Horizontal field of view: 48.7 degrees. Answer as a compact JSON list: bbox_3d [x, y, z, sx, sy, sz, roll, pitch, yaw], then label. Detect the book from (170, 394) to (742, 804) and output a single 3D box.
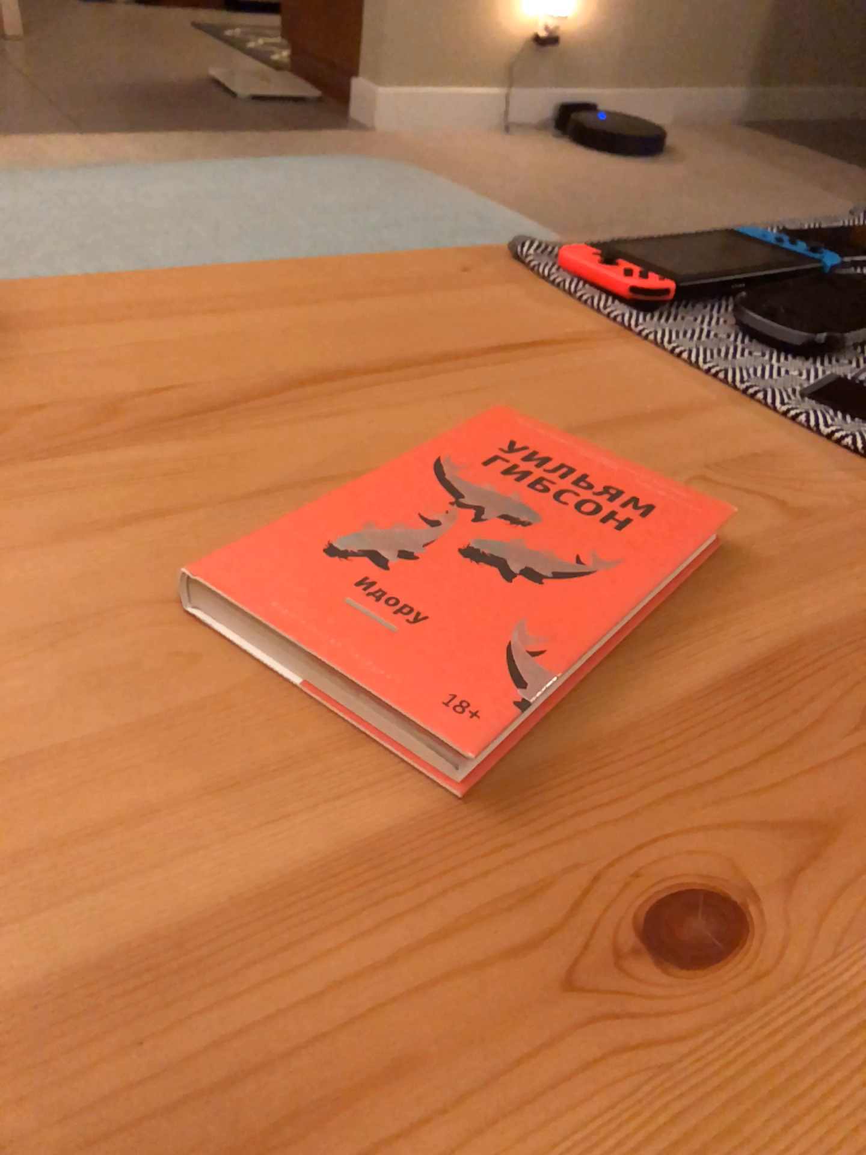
[{"bbox_3d":[0.021,-0.011,0.388,0.134,0.020,0.208,29,41,25],"label":"book"}]
